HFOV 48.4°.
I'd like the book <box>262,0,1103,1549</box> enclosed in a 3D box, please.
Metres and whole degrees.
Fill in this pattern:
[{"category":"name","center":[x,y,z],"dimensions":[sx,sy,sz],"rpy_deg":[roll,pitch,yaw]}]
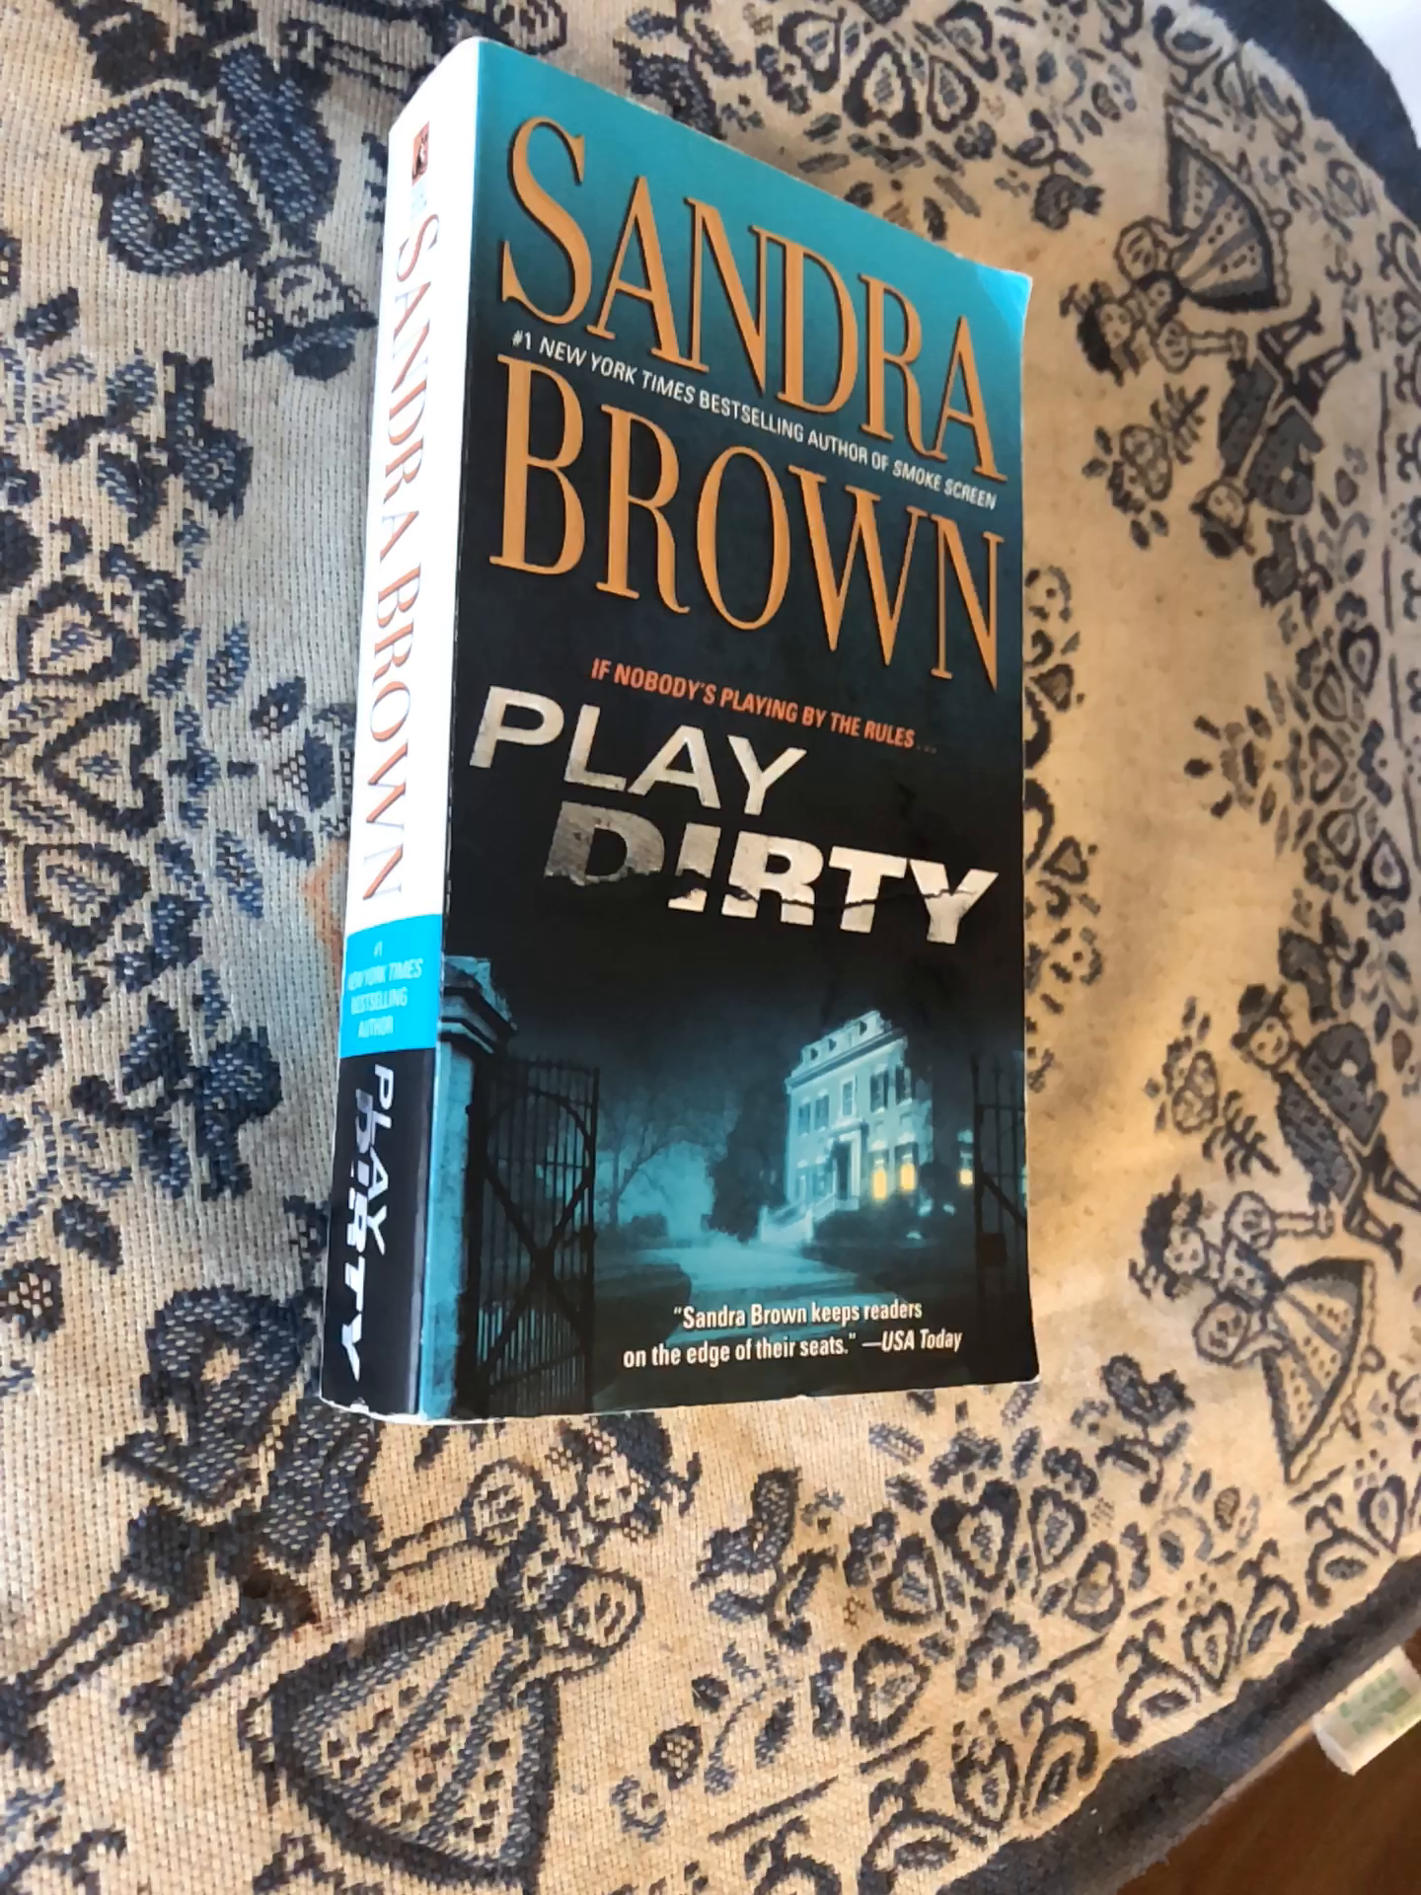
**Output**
[{"category":"book","center":[0.002,-0.019,0.225],"dimensions":[0.110,0.040,0.180],"rpy_deg":[6,82,-34]}]
